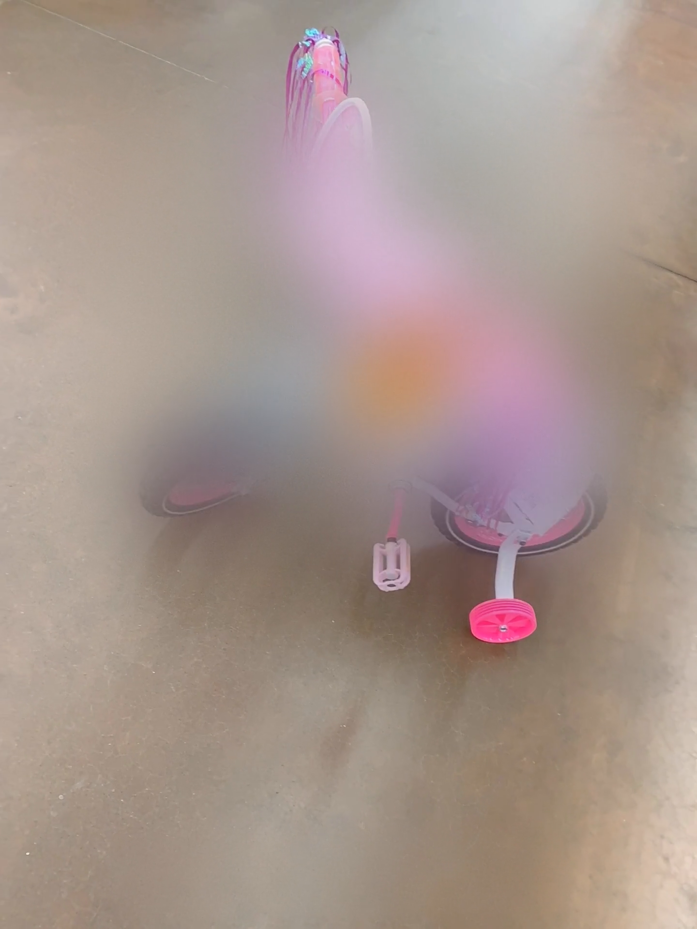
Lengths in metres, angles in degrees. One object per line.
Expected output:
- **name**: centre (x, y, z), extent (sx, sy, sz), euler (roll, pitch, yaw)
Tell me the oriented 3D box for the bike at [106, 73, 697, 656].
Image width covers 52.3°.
- **bike**: centre (0.087, -0.073, 1.039), extent (0.776, 0.708, 0.429), euler (3, 51, -9)
